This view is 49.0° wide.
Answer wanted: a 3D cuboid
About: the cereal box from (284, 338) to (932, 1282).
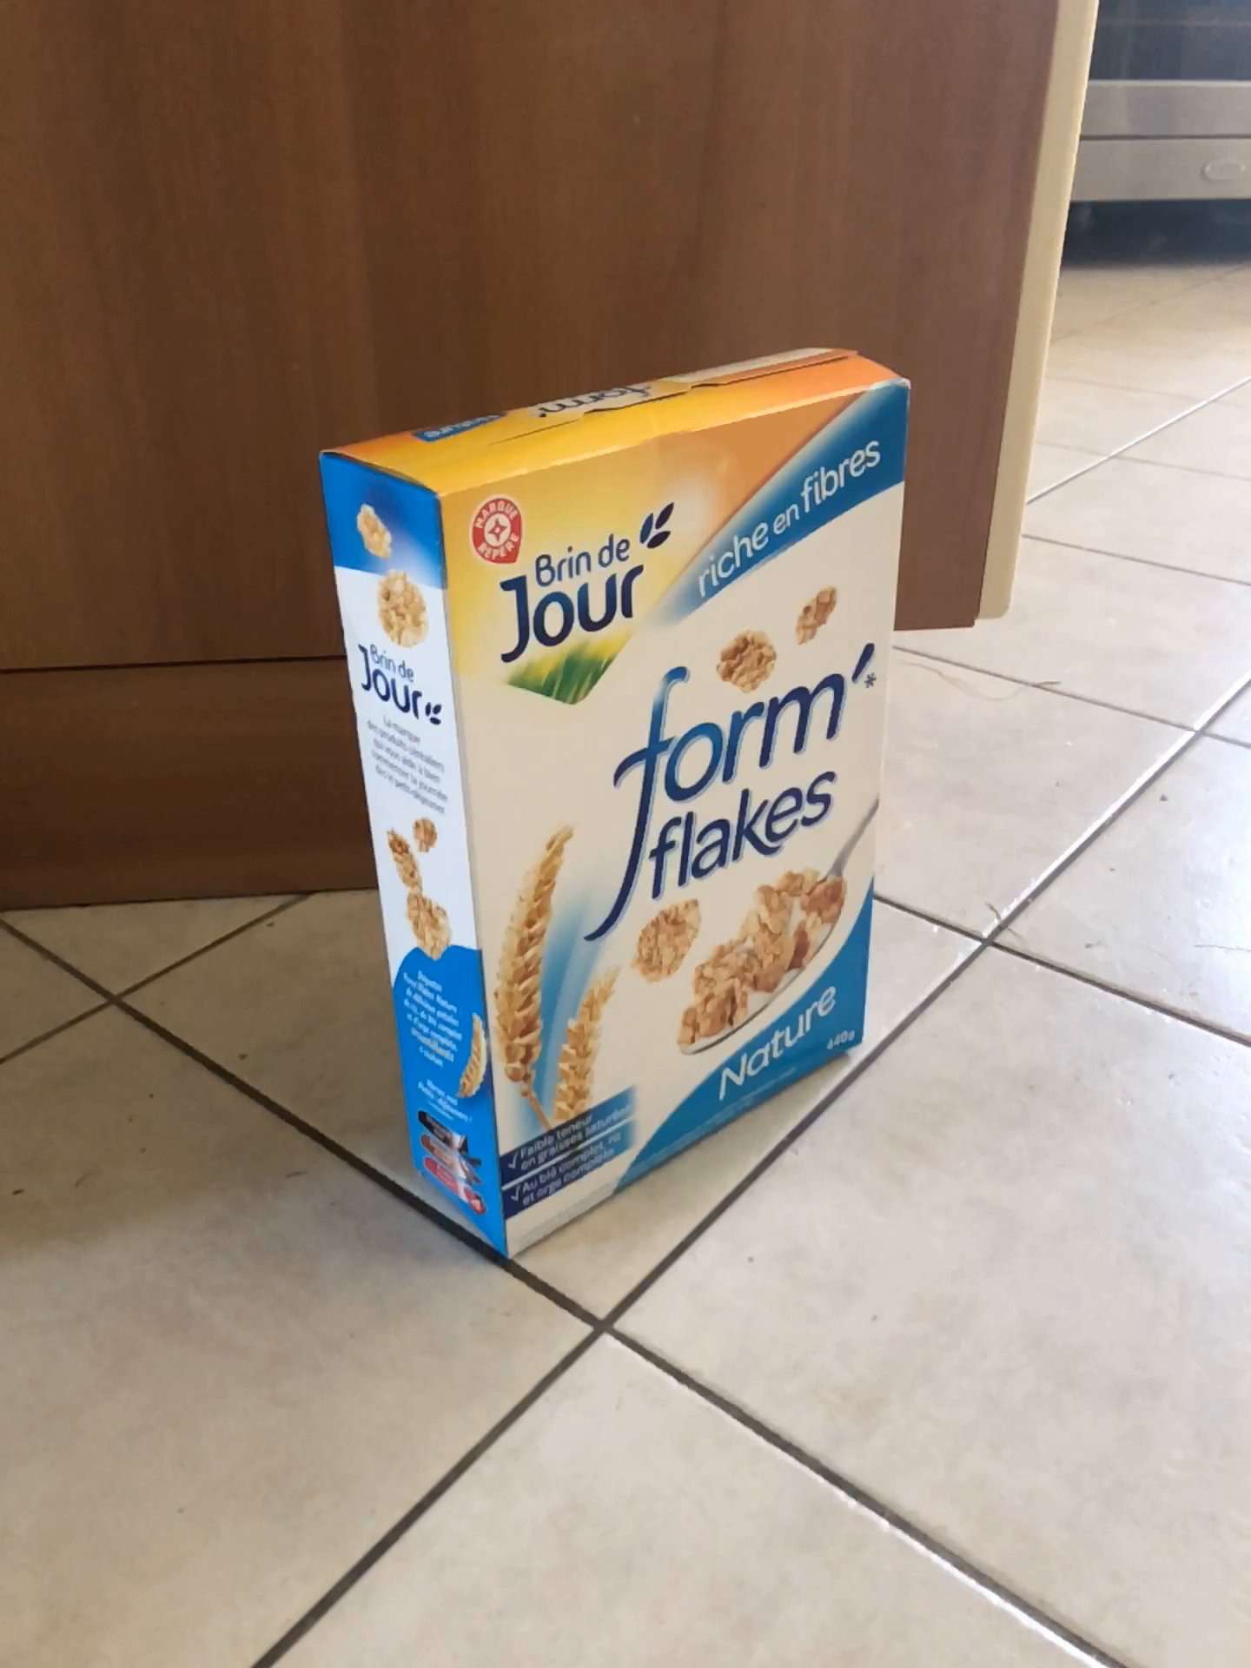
[{"bbox_3d":[0.006,-0.013,0.488,0.201,0.278,0.070,-23,35,-34],"label":"cereal box"}]
